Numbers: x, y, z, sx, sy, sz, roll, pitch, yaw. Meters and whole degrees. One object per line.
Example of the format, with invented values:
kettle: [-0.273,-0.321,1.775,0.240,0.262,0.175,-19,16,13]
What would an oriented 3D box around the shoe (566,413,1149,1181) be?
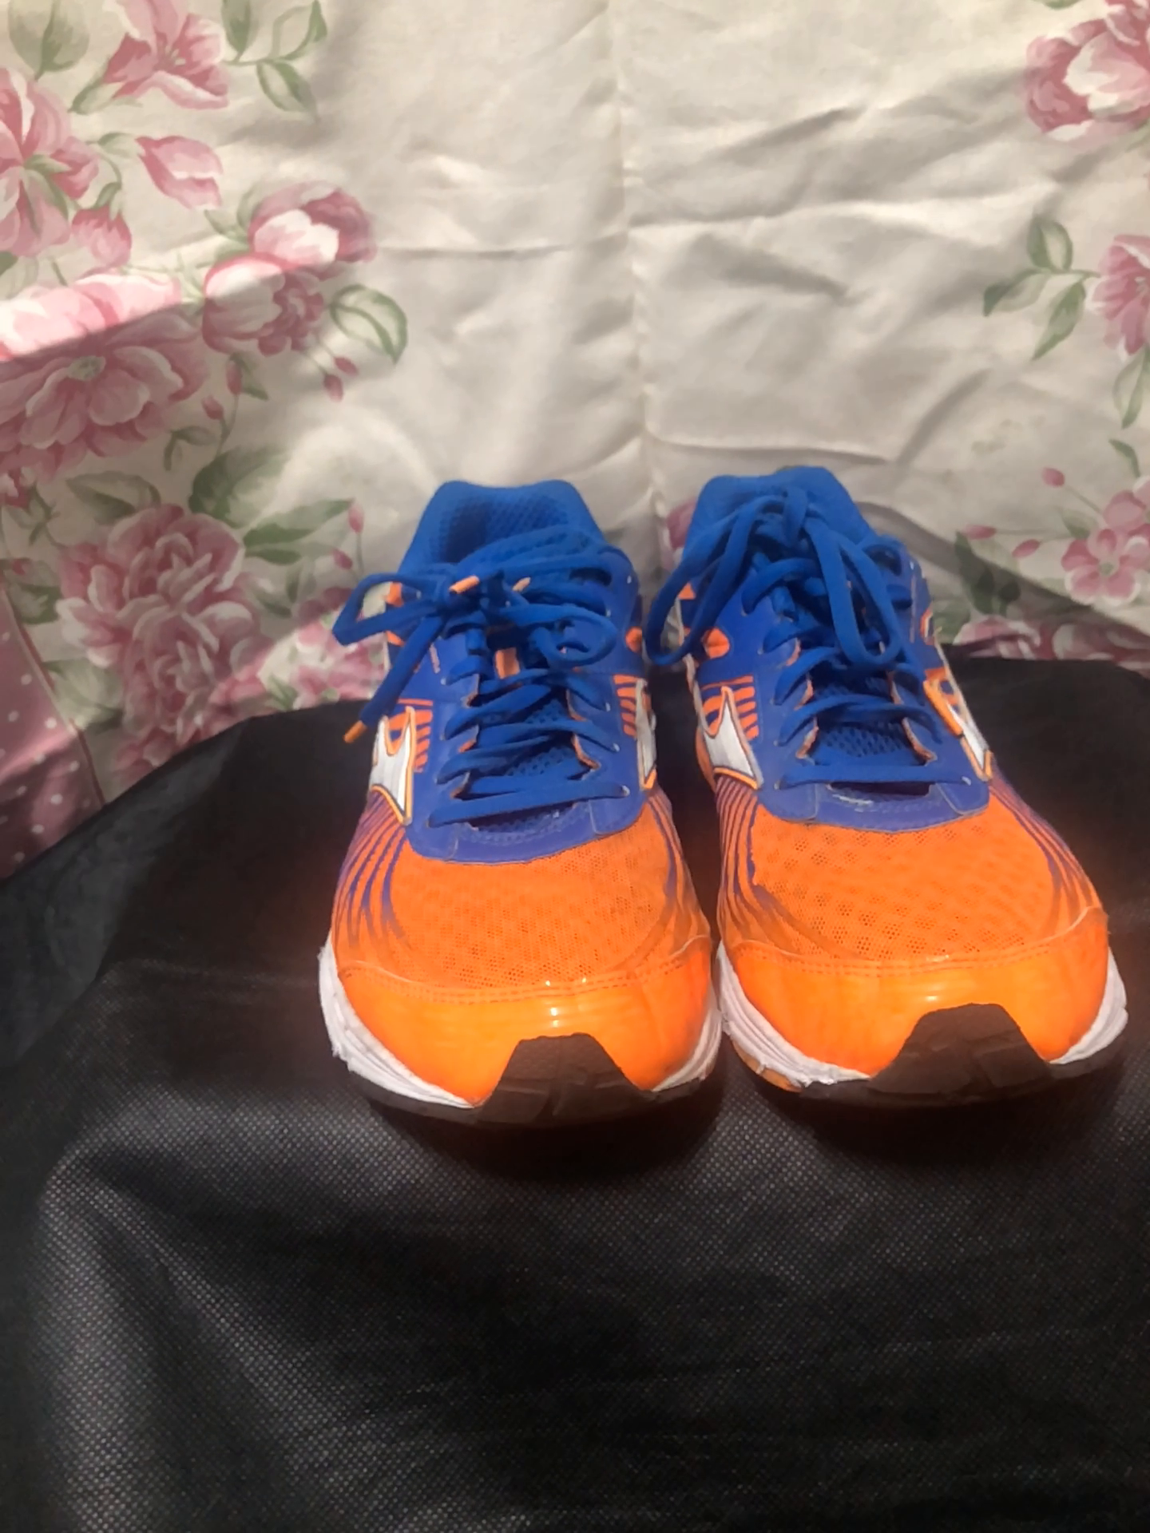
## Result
shoe: [0.060,-0.015,0.345,0.110,0.109,0.222,-4,26,-1]

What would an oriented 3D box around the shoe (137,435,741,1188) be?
shoe: [-0.027,-0.010,0.355,0.110,0.109,0.222,-4,26,-1]
